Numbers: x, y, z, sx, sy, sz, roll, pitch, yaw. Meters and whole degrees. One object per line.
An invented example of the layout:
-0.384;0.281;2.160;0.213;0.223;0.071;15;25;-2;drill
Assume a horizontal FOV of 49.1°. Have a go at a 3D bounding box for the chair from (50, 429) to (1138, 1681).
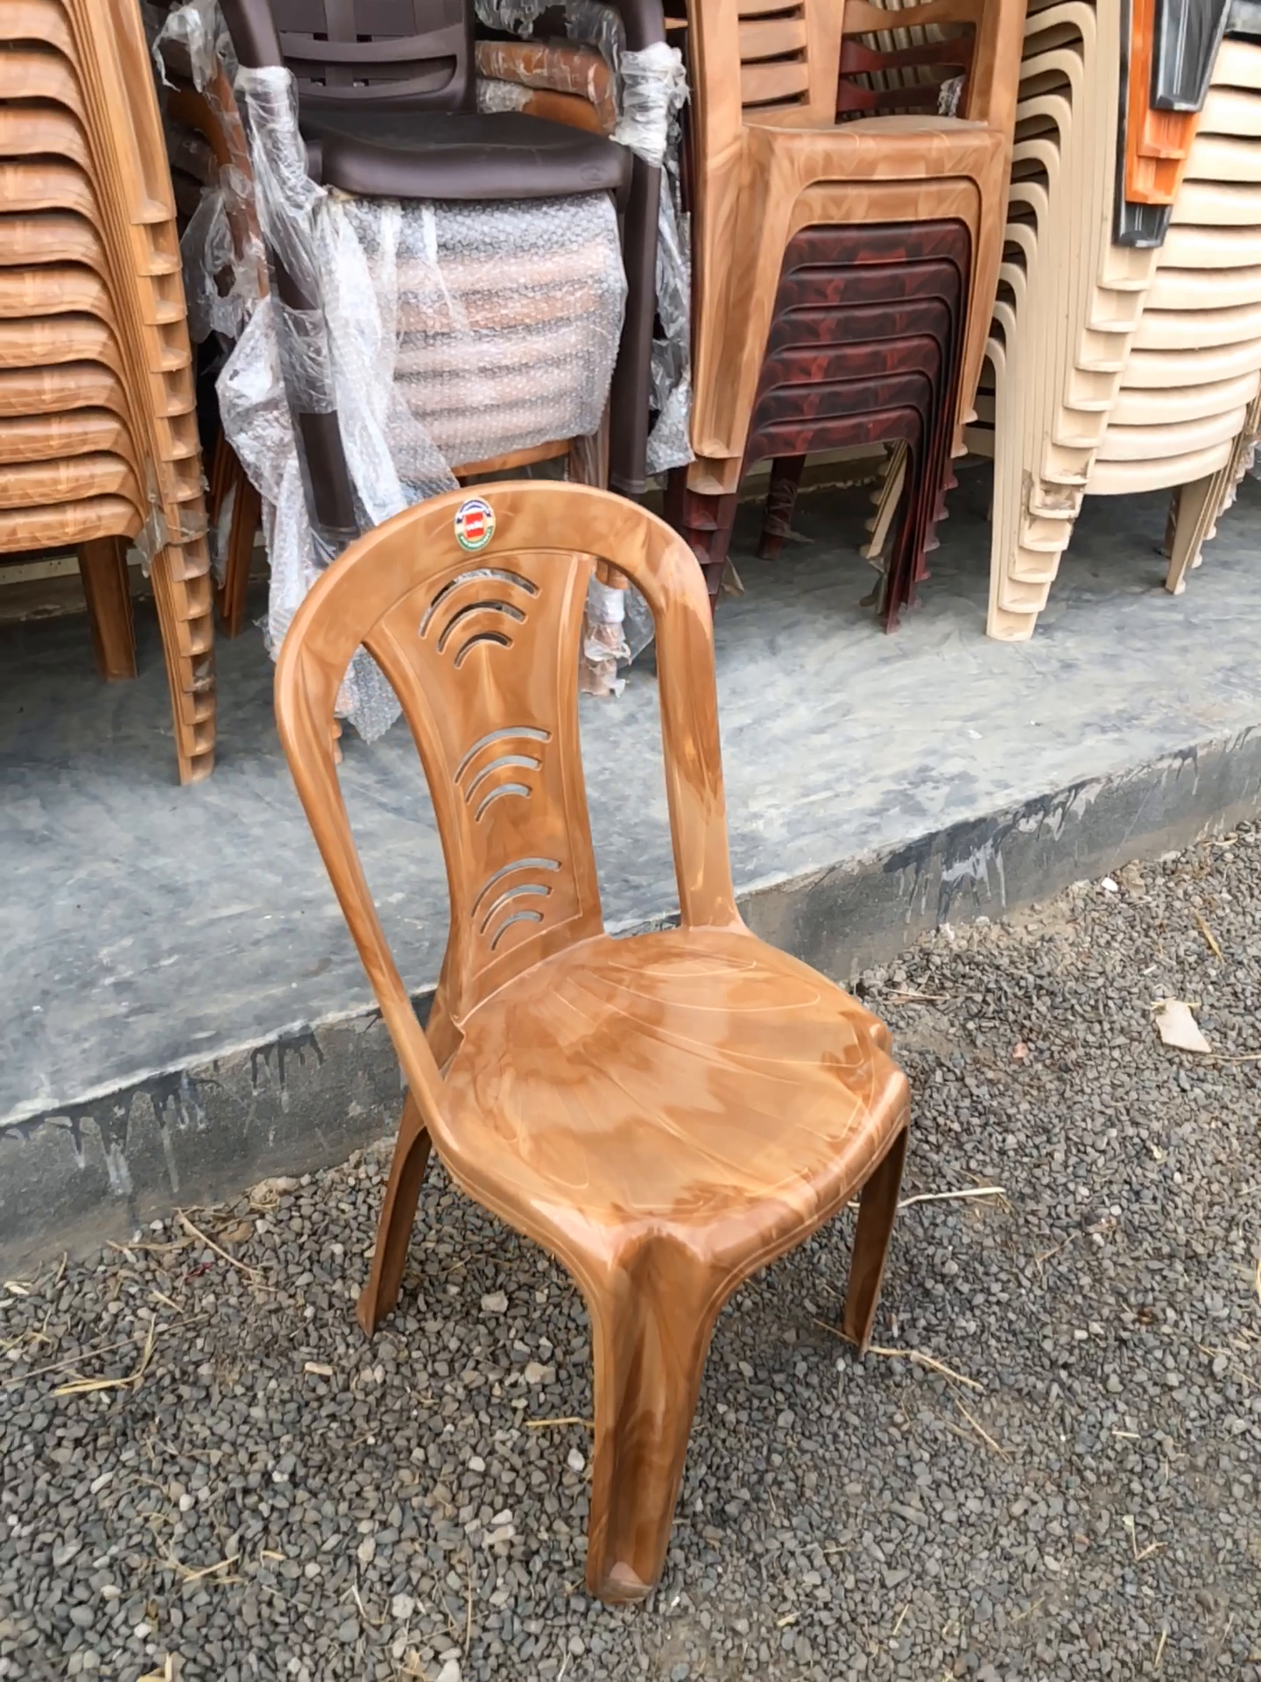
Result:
-0.038;0.140;1.210;0.580;0.766;0.543;27;39;32;chair
